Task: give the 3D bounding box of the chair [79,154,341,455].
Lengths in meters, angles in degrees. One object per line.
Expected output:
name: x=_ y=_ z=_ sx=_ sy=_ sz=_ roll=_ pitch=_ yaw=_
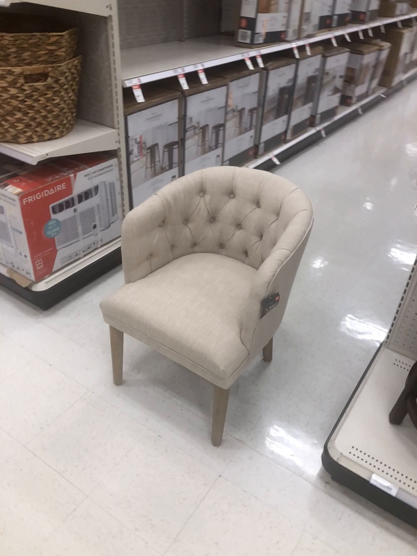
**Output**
chair: x=0.021 y=0.045 z=1.673 sx=0.561 sy=0.700 sz=0.684 roll=23 pitch=40 yaw=25
